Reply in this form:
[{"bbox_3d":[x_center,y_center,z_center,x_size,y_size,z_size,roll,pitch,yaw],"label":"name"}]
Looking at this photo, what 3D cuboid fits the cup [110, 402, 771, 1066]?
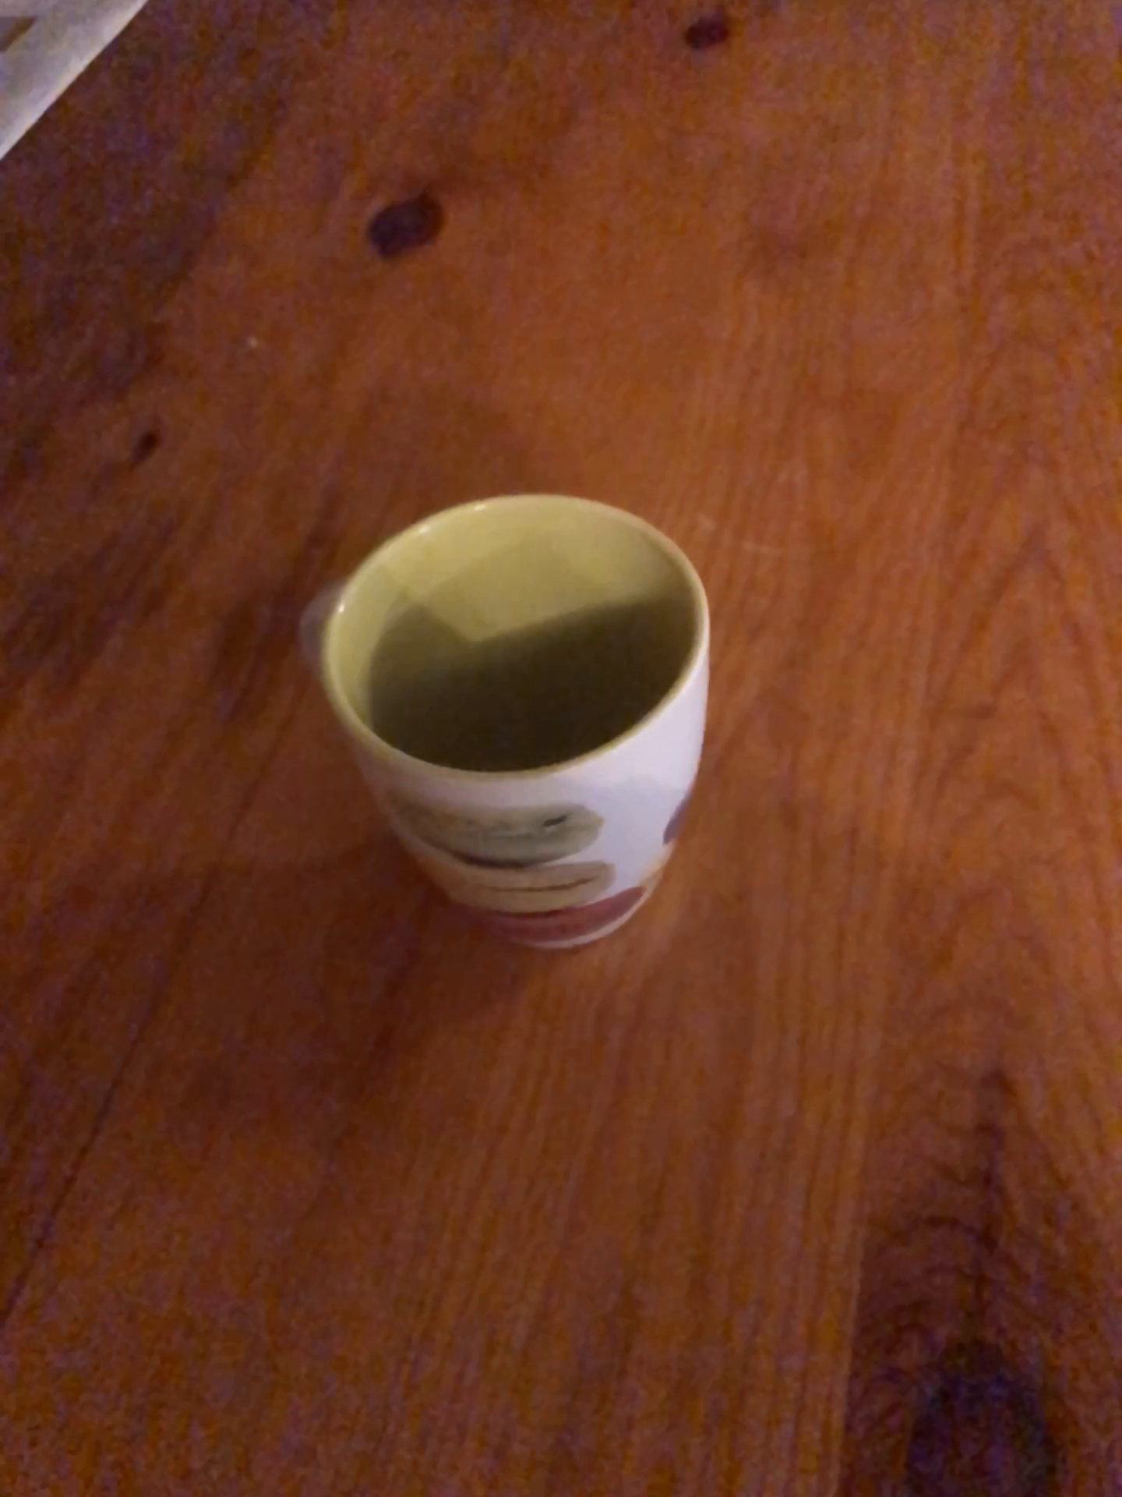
[{"bbox_3d":[-0.024,-0.006,0.330,0.120,0.099,0.098,25,59,22],"label":"cup"}]
